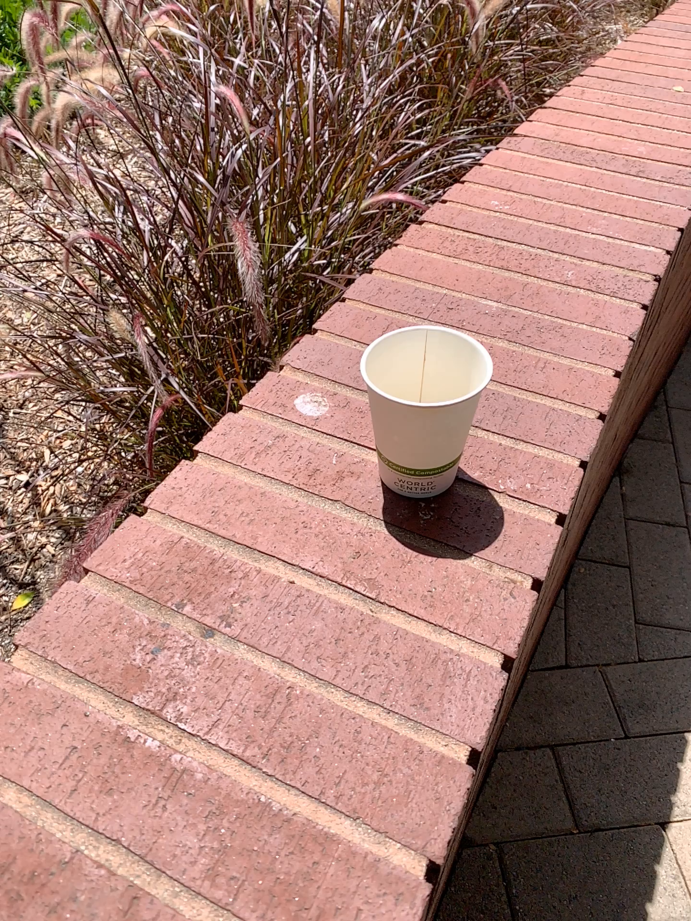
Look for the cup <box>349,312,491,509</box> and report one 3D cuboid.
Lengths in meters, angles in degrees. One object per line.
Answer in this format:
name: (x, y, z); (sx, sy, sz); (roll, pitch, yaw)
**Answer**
cup: (0.050, -0.036, 0.521); (0.090, 0.109, 0.090); (0, 44, 0)
